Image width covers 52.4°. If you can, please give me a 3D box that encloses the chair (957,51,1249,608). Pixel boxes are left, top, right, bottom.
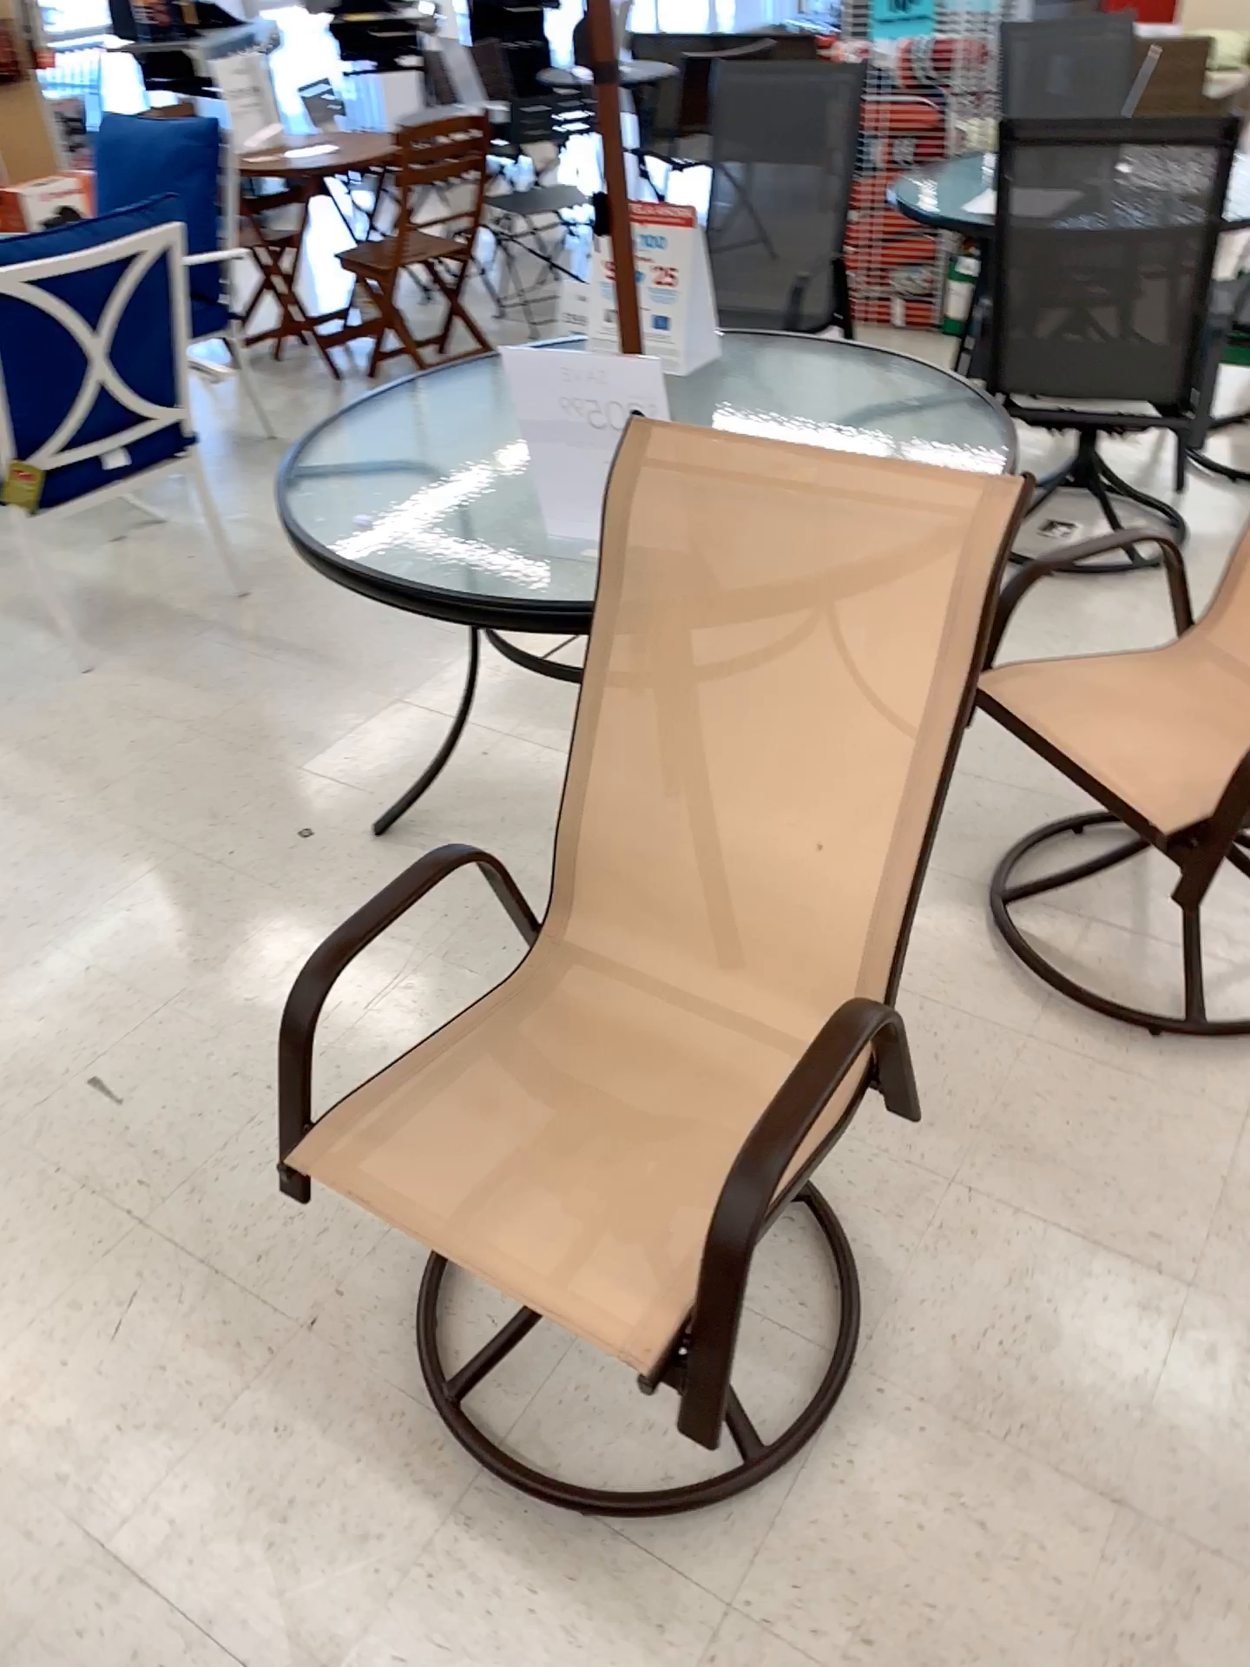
[{"bbox_3d":[1.042,-1.071,2.702,0.568,0.916,0.711,5,38,12],"label":"chair"}]

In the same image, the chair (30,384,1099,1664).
[{"bbox_3d":[0.020,0.158,1.320,0.569,0.956,0.709,19,43,28],"label":"chair"}]

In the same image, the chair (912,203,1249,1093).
[{"bbox_3d":[0.880,-0.254,1.755,0.707,0.956,0.571,-11,37,-9],"label":"chair"}]

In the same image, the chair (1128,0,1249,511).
[{"bbox_3d":[1.660,-1.331,2.898,0.708,0.916,0.570,17,42,26],"label":"chair"}]
